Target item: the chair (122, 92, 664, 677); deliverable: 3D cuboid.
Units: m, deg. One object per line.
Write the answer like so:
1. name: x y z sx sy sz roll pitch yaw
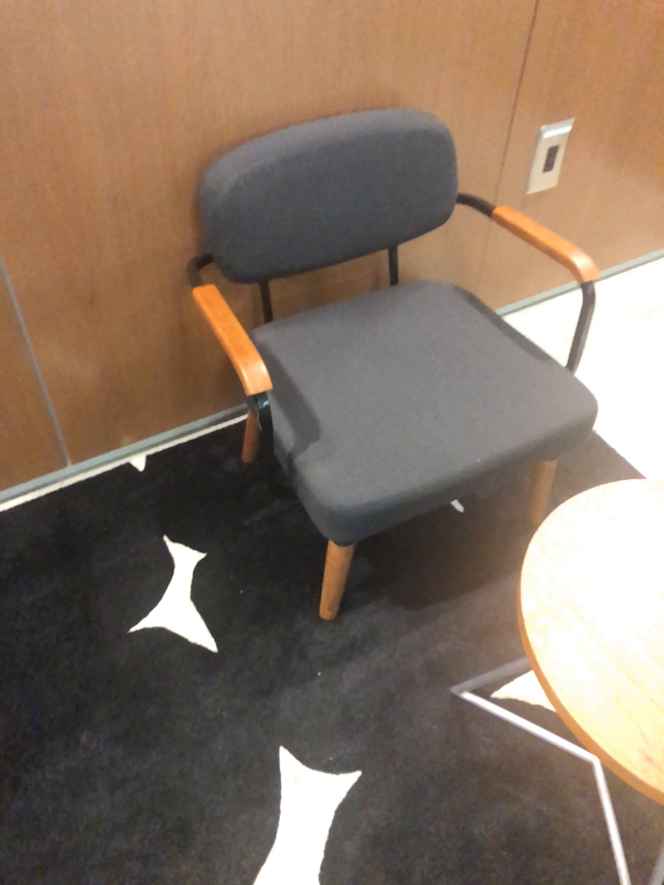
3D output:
1. chair: 0.093 -0.151 1.426 0.682 0.714 0.683 -21 47 -21
